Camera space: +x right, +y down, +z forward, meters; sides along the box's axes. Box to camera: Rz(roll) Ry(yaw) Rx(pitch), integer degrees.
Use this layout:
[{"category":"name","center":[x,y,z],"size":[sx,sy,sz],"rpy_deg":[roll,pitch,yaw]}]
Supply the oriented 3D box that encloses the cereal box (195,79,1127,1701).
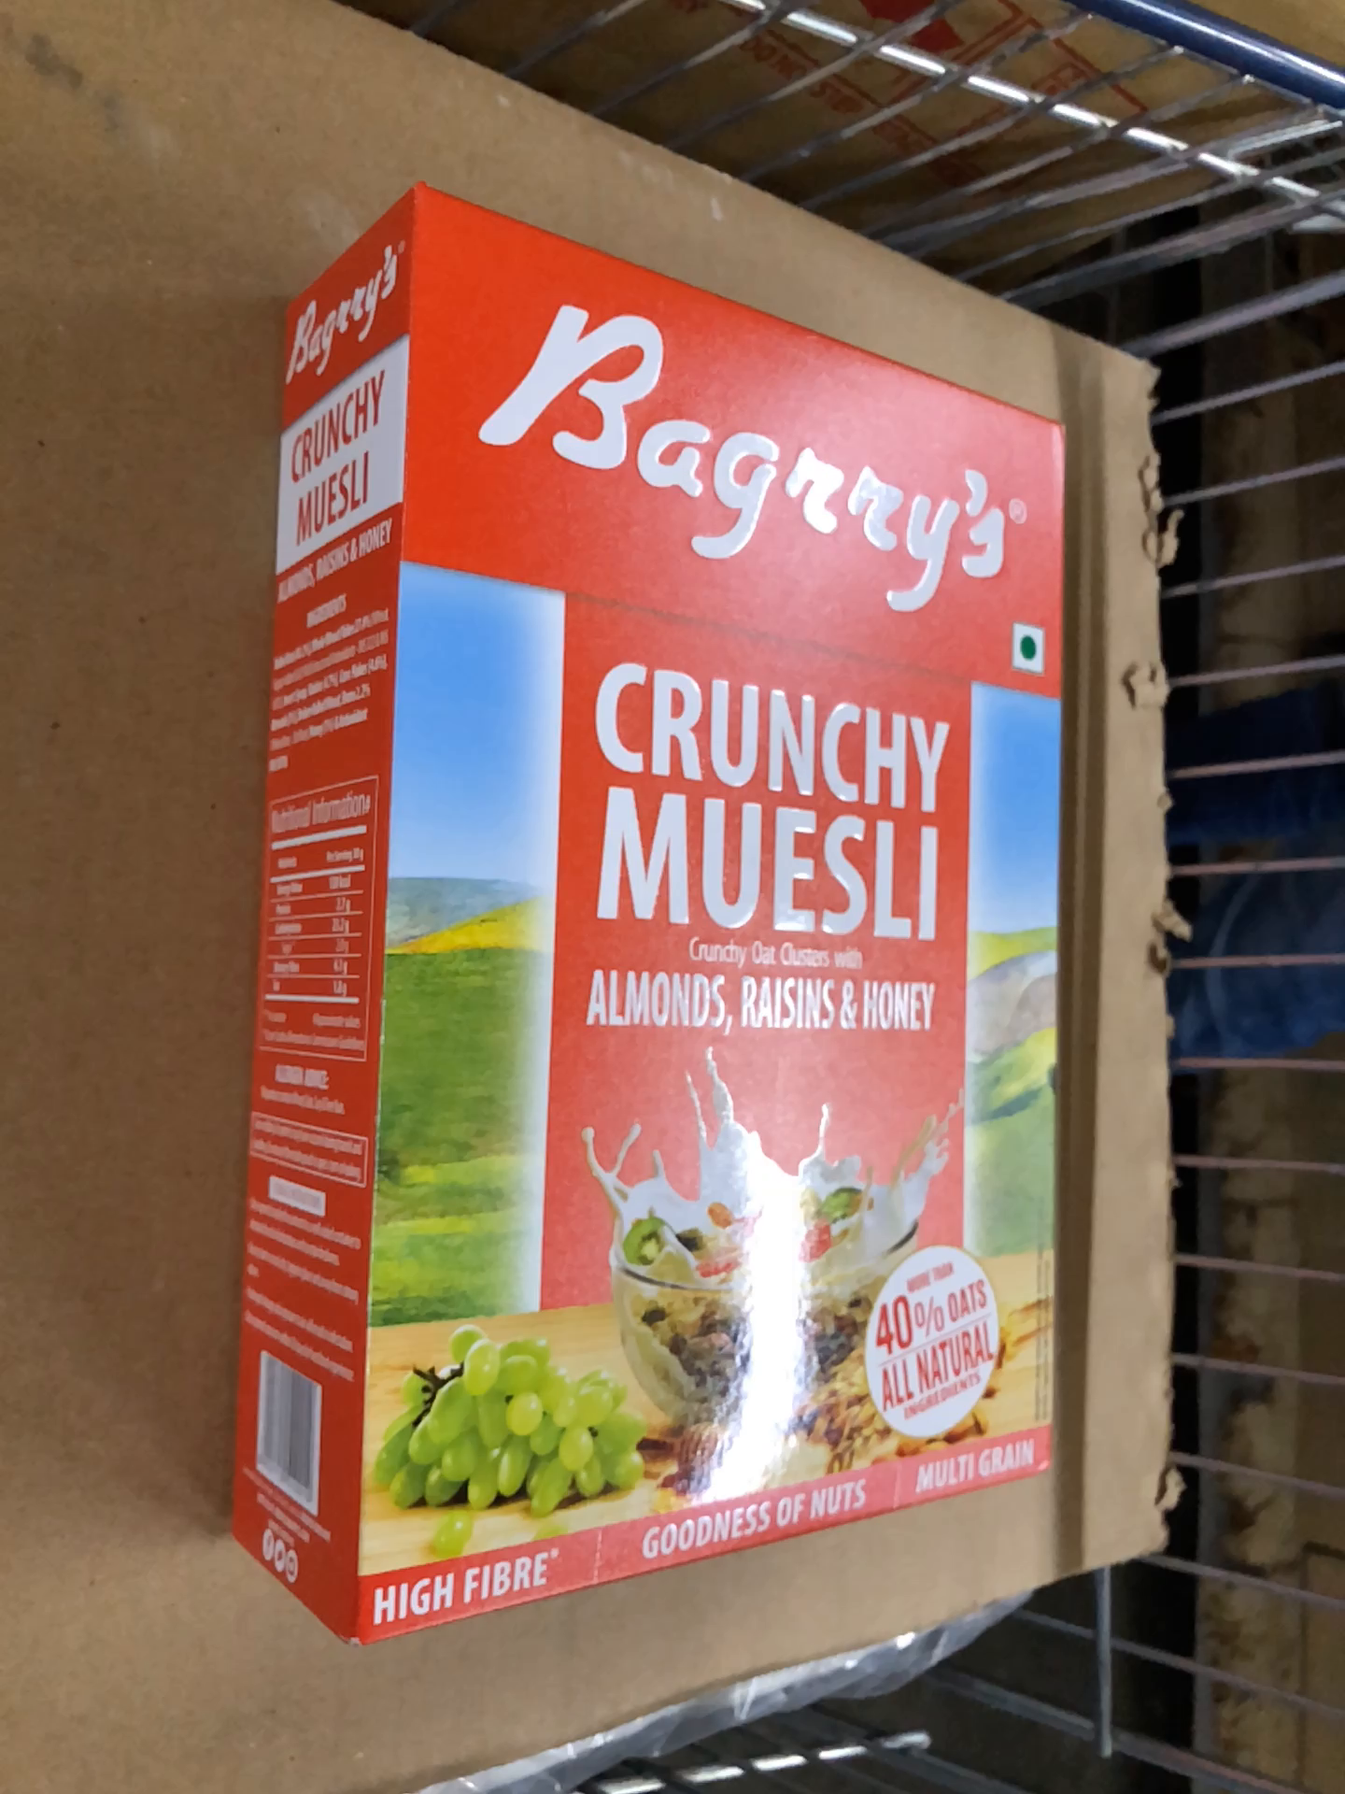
[{"category":"cereal box","center":[0.006,0.001,0.320],"size":[0.181,0.070,0.260],"rpy_deg":[4,87,-35]}]
